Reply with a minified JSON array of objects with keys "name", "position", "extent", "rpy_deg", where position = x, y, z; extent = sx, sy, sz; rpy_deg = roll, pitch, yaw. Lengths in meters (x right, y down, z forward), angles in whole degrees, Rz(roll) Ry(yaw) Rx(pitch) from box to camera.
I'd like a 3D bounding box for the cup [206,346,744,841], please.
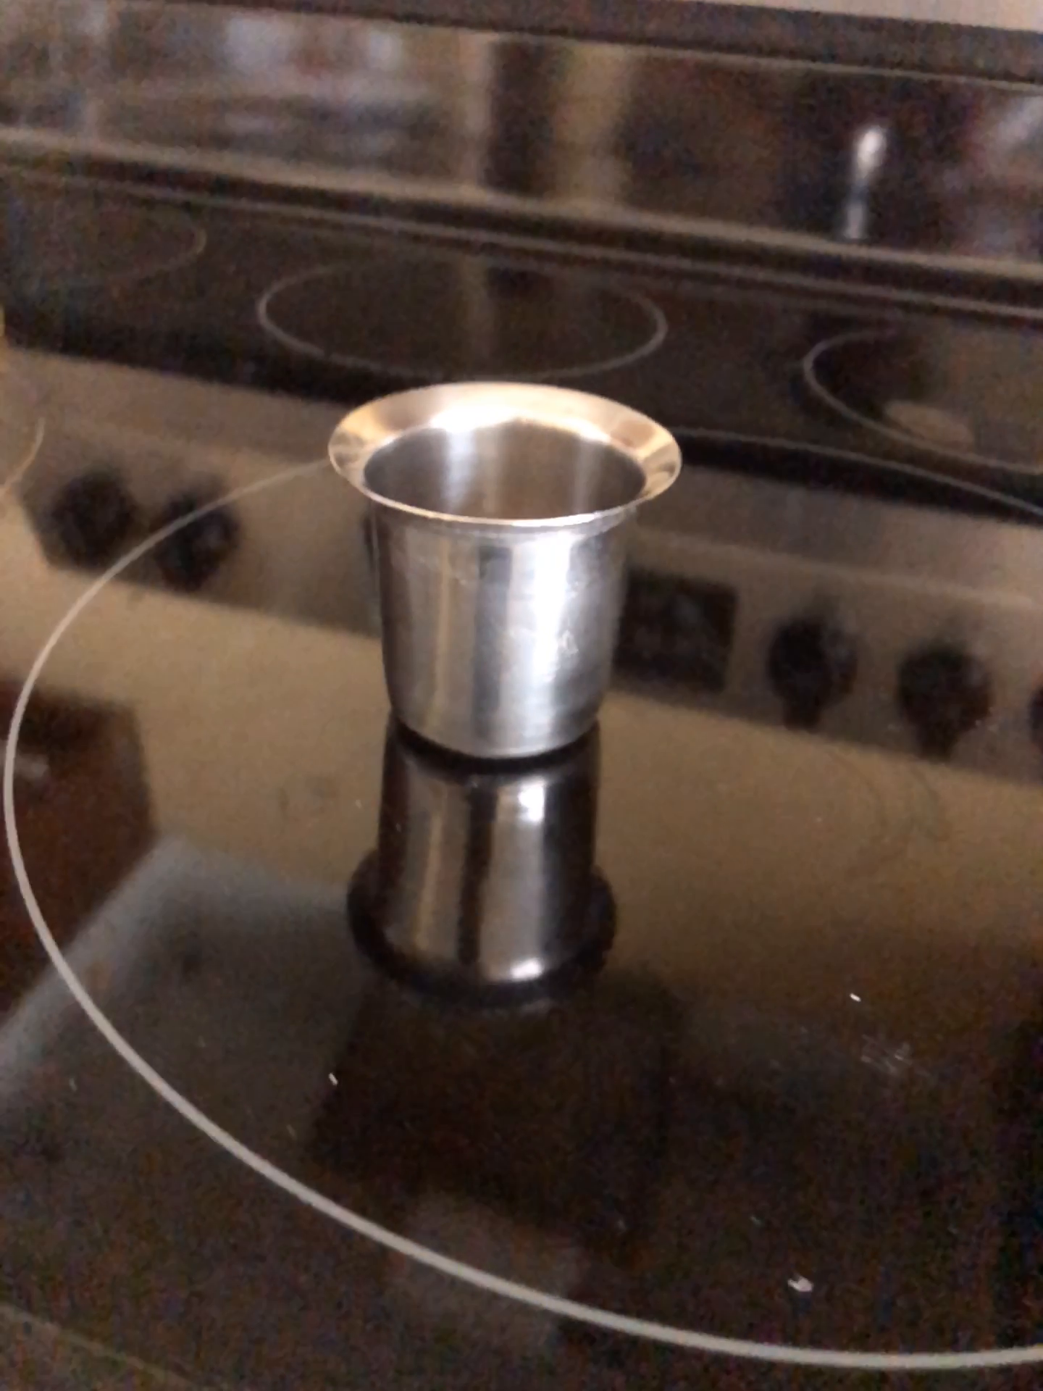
[{"name":"cup","position":[-0.008,-0.025,0.229],"extent":[0.066,0.056,0.073],"rpy_deg":[2,33,-2]}]
